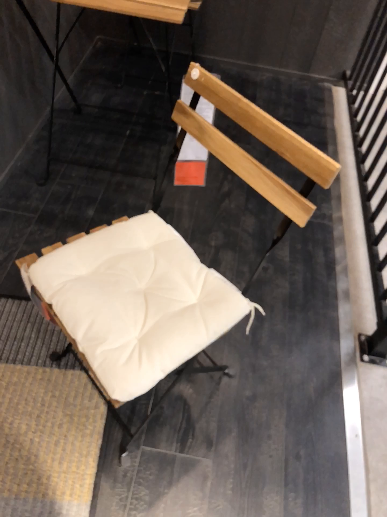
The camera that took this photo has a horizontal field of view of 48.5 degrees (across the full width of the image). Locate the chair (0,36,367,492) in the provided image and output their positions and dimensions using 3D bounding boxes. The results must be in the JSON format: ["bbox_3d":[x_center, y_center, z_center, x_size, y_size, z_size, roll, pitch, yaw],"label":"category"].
[{"bbox_3d":[-0.103,0.058,0.910,0.461,0.758,0.451,-30,60,-27],"label":"chair"}]
